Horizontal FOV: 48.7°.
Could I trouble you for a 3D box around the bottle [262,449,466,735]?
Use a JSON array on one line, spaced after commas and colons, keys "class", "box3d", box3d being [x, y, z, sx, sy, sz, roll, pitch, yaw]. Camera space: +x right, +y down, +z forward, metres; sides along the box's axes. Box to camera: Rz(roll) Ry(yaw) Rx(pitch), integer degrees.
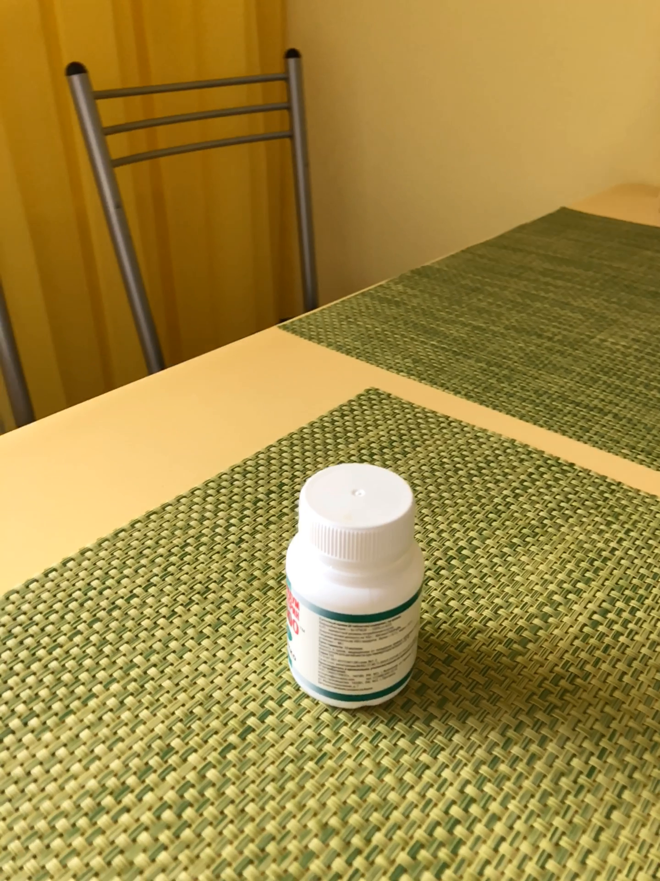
[{"class": "bottle", "box3d": [0.008, 0.048, 0.241, 0.050, 0.070, 0.050, 1, 31, -1]}]
